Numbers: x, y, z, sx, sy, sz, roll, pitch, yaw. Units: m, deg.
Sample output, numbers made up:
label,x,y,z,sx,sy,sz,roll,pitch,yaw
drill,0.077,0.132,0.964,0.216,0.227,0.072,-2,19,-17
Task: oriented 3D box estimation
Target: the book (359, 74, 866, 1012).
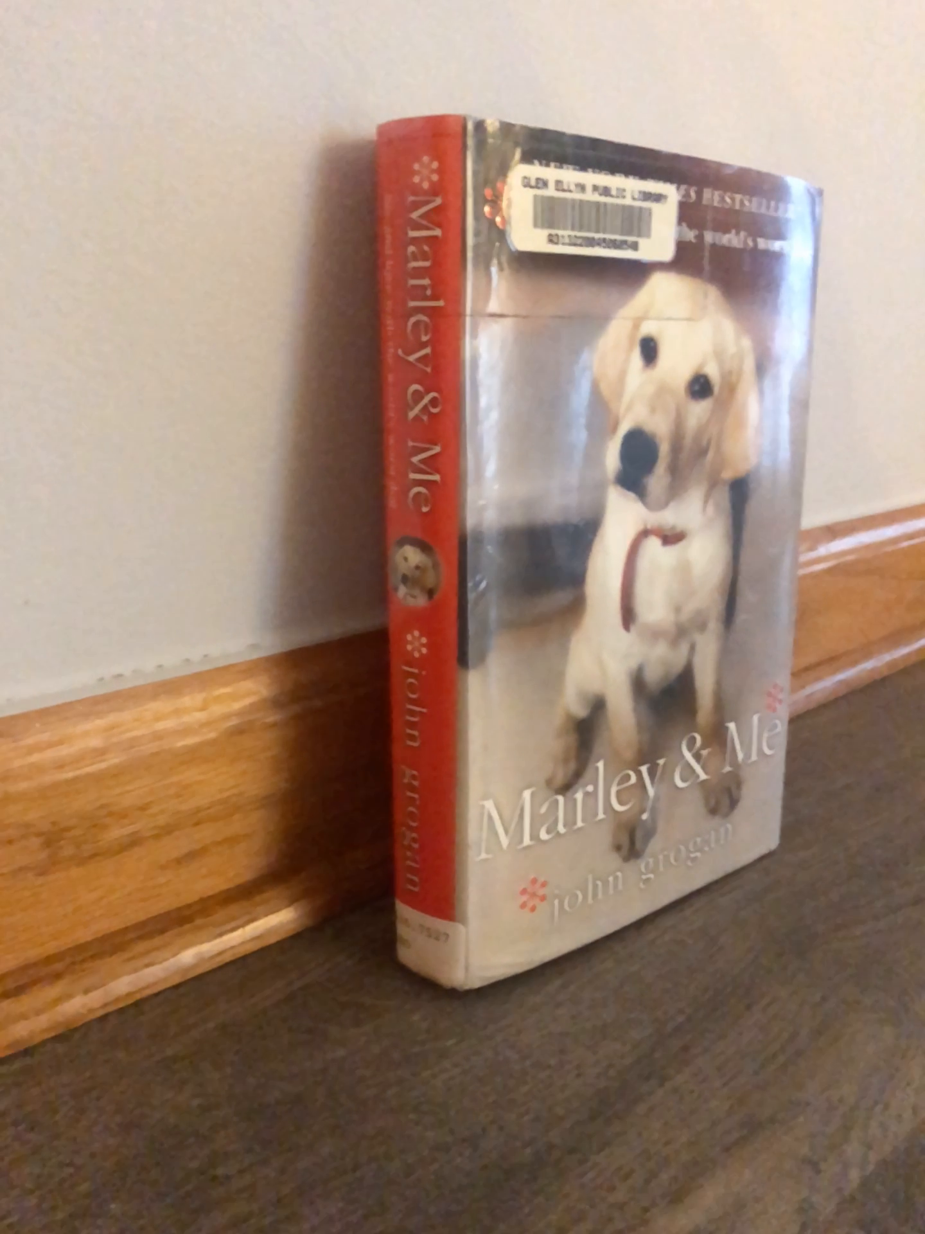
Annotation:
label,x,y,z,sx,sy,sz,roll,pitch,yaw
book,0.048,-0.021,0.299,0.151,0.219,0.040,-12,18,-37
